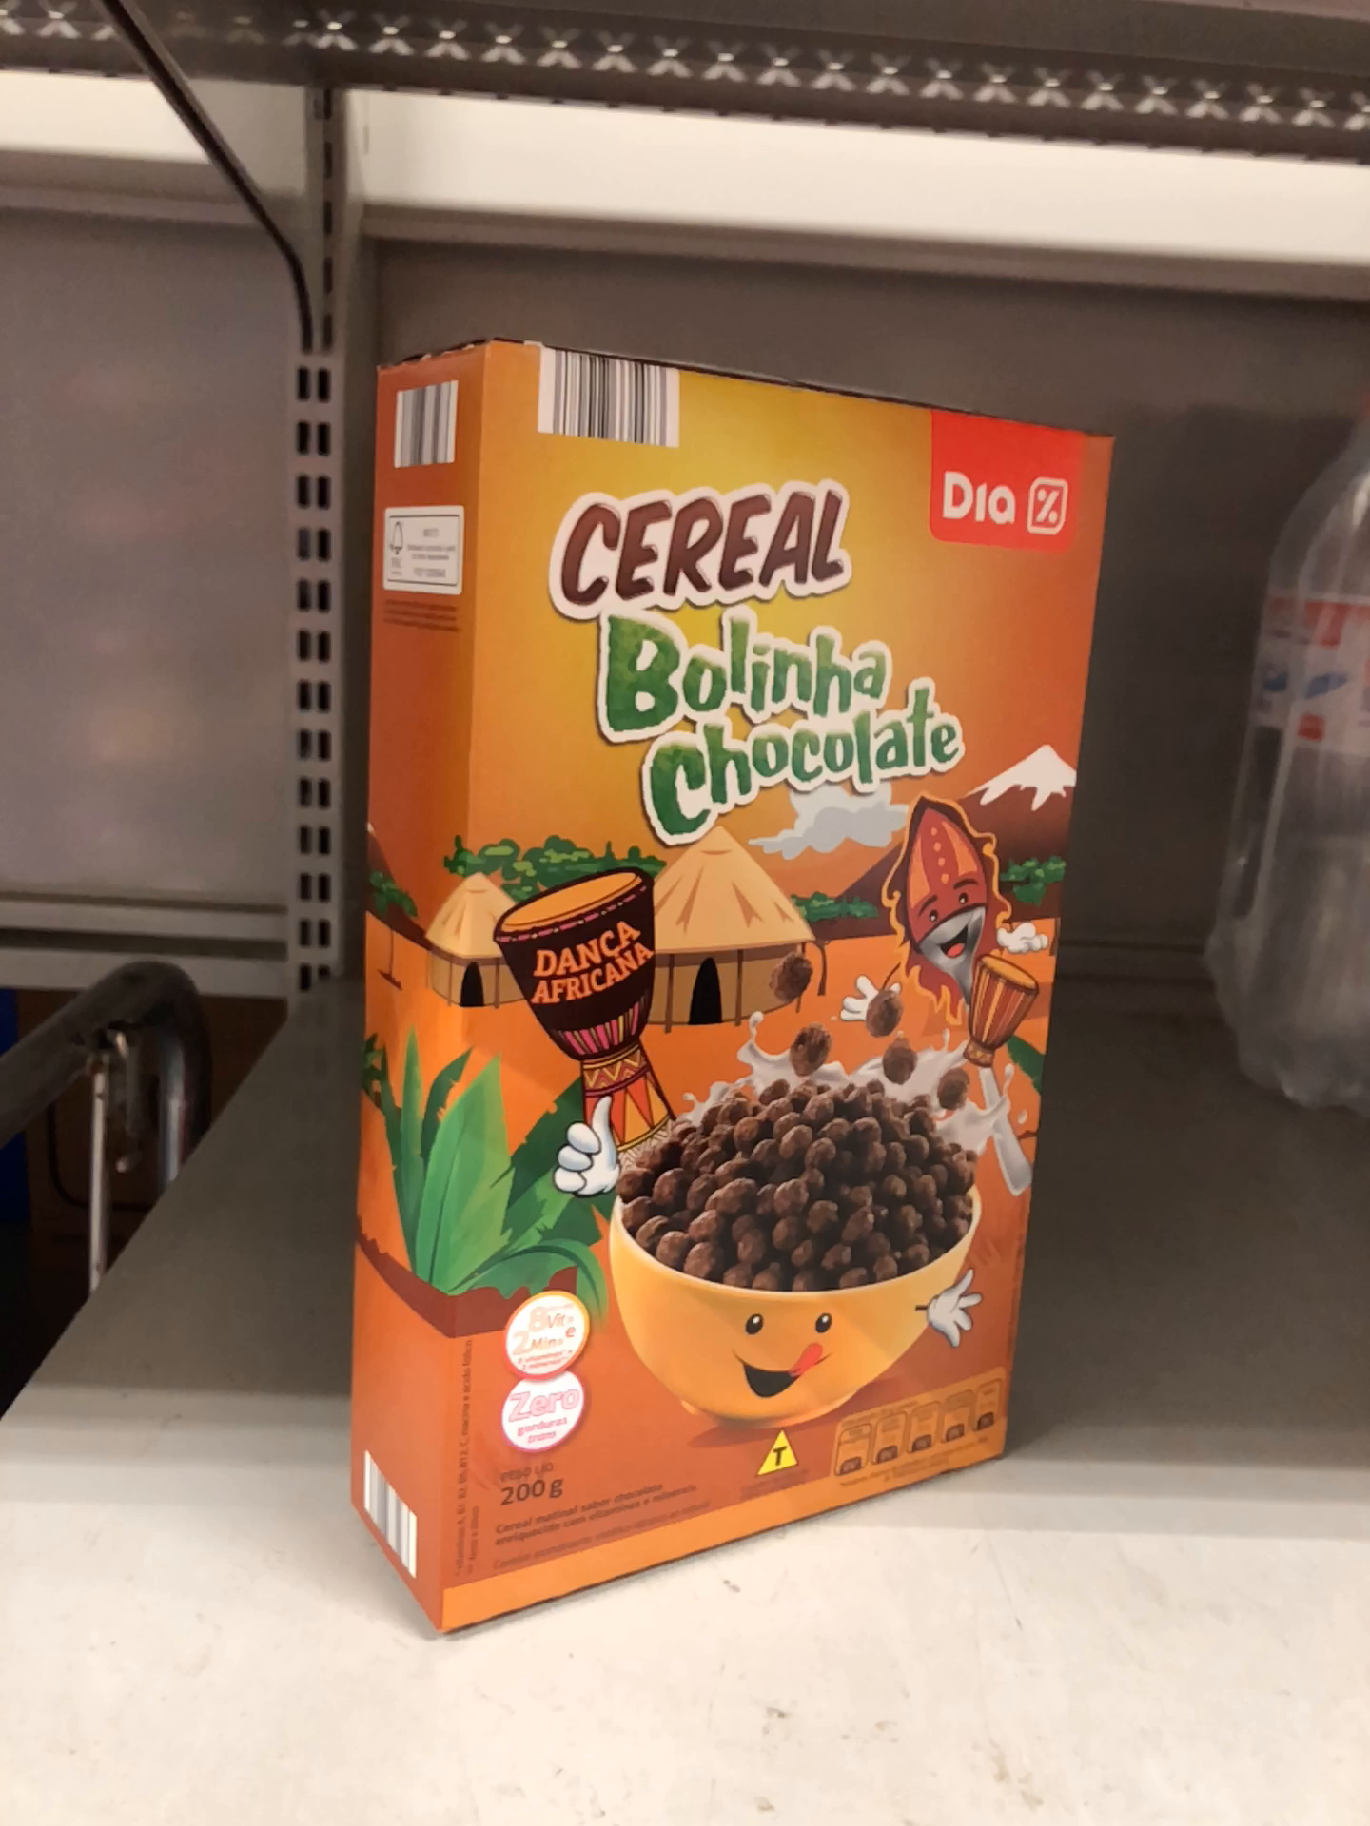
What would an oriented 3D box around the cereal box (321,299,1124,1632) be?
[{"bbox_3d":[0.009,0.010,0.362,0.170,0.259,0.060,-2,10,-33],"label":"cereal box"}]
